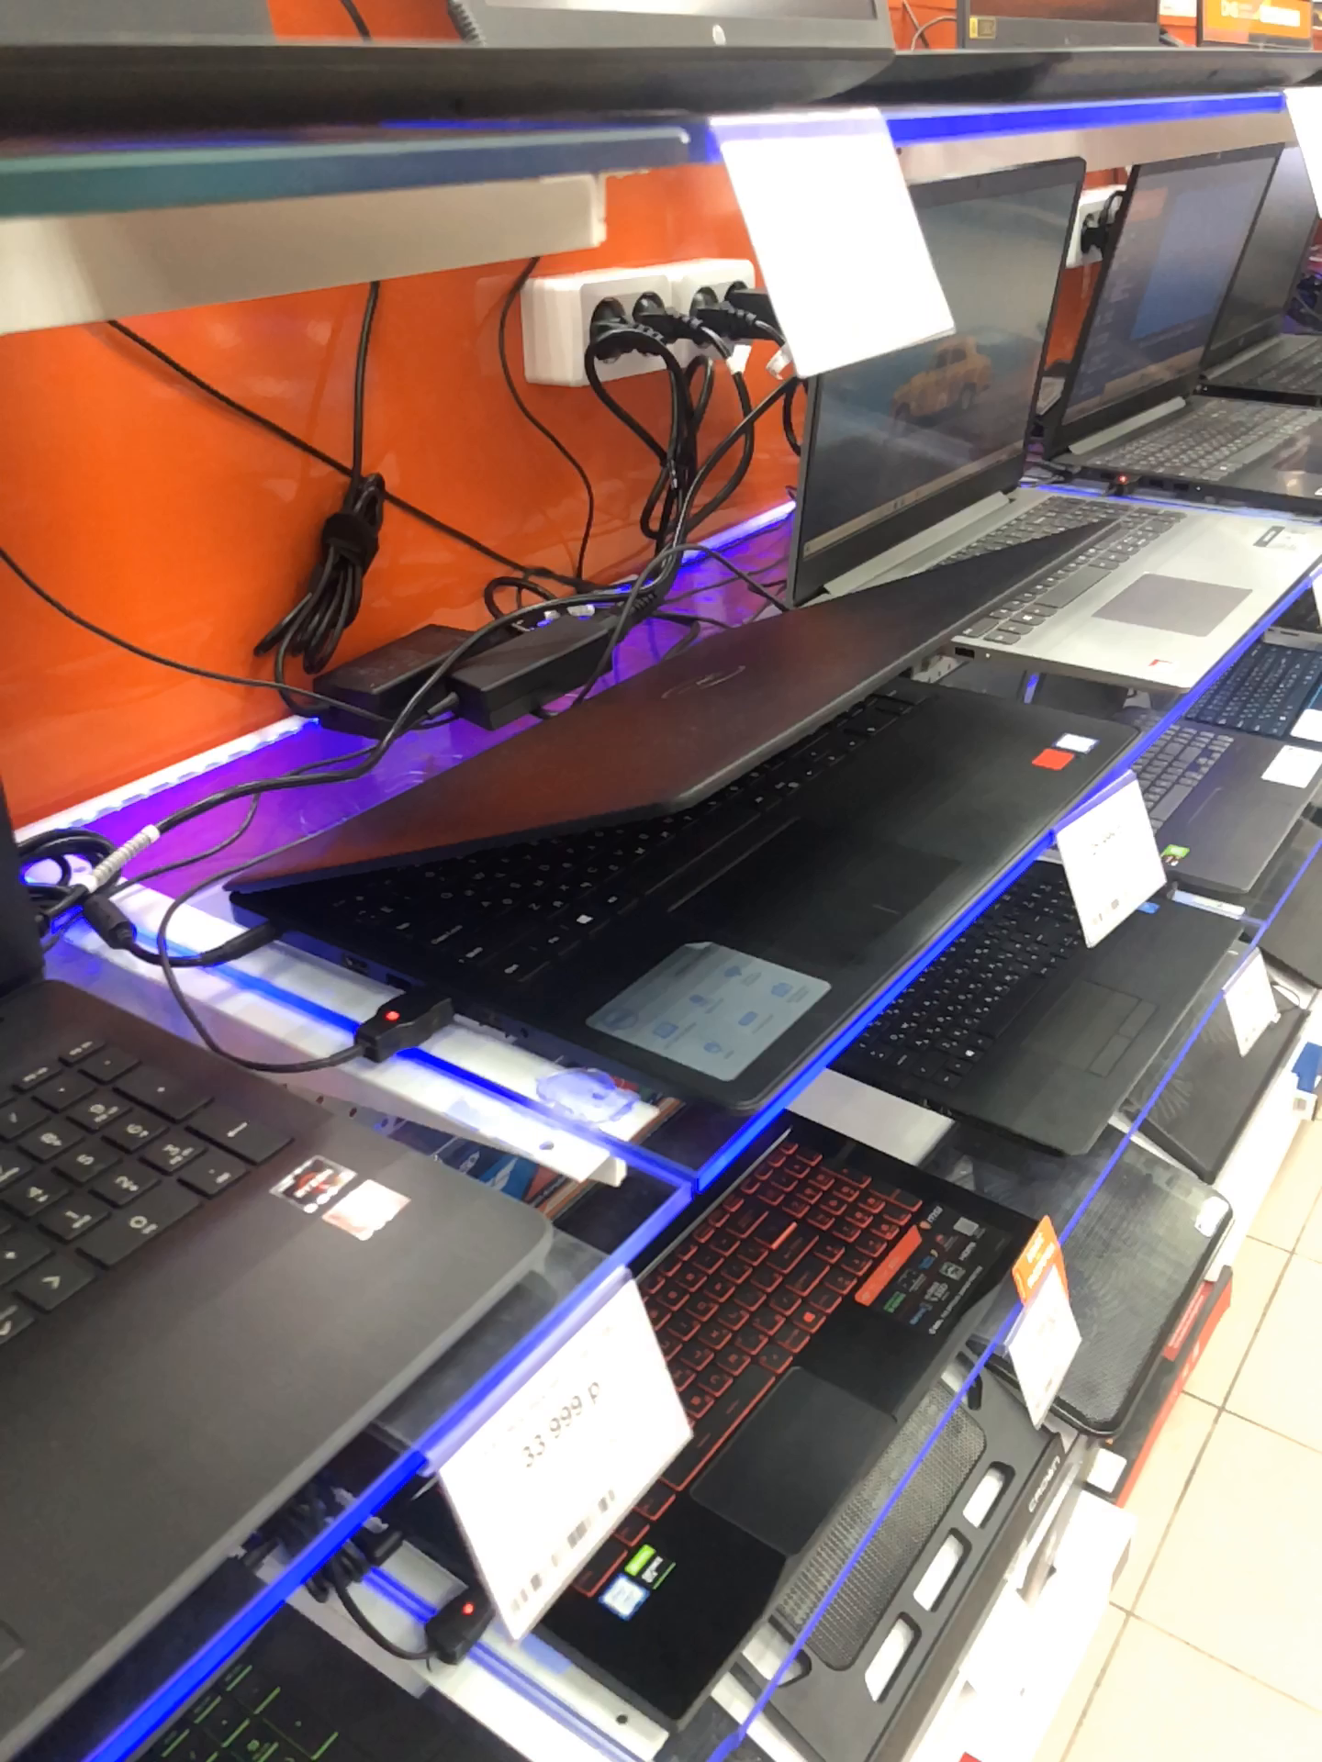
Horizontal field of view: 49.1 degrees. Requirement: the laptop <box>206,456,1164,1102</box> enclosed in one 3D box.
[{"bbox_3d":[0.034,-0.083,0.629,0.238,0.100,0.372,17,34,31],"label":"laptop"}]
